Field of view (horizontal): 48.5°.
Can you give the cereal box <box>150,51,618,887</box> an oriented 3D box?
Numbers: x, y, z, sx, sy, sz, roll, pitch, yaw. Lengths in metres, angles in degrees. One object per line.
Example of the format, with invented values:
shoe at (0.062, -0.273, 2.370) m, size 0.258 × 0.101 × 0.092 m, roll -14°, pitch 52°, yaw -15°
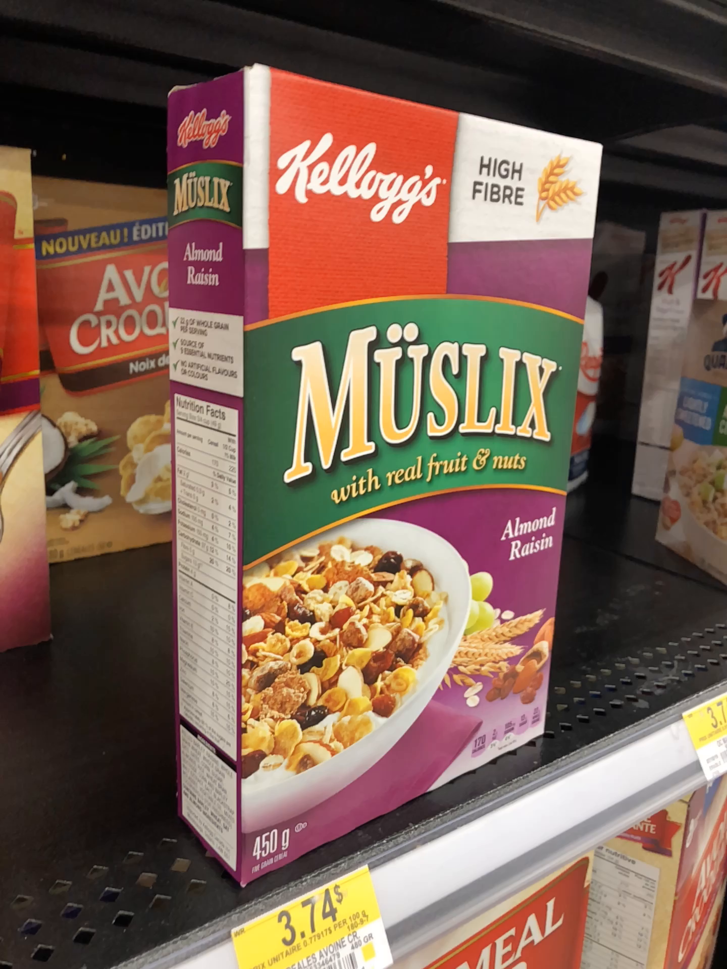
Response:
cereal box at (0.010, -0.006, 0.319) m, size 0.170 × 0.259 × 0.060 m, roll -9°, pitch 18°, yaw -39°
